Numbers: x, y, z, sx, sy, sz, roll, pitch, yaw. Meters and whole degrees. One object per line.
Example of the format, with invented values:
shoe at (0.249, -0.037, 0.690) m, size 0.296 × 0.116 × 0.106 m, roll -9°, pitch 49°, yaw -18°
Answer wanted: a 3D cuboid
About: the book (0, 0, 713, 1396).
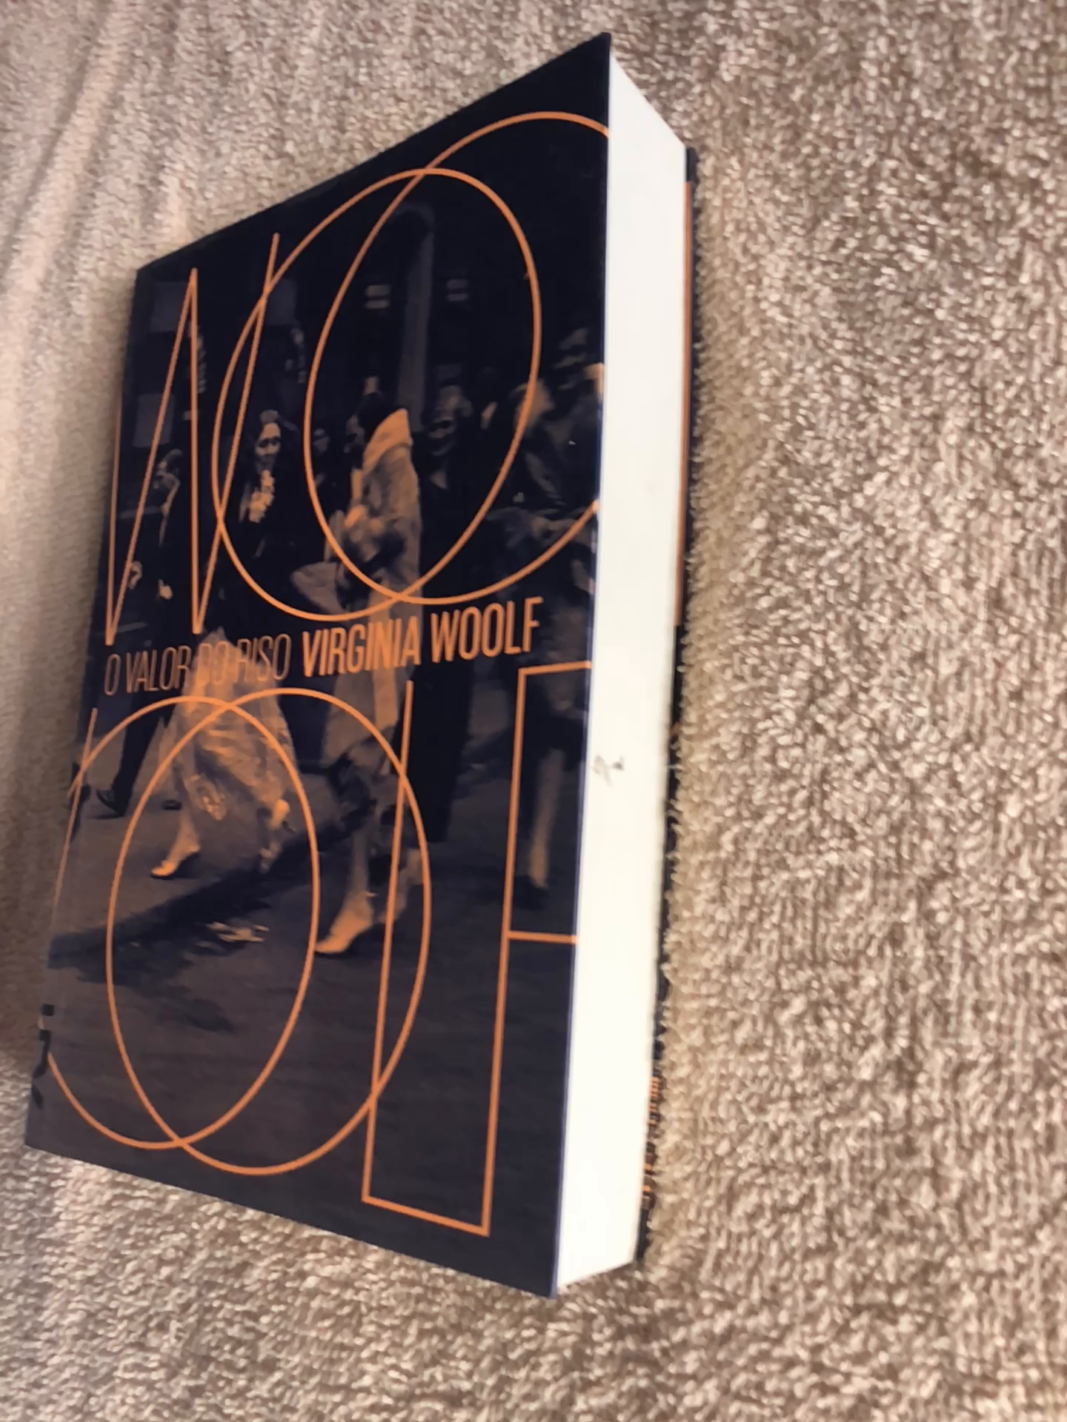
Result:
book at (-0.044, -0.007, 0.213) m, size 0.141 × 0.050 × 0.190 m, roll -3°, pitch 81°, yaw 33°
